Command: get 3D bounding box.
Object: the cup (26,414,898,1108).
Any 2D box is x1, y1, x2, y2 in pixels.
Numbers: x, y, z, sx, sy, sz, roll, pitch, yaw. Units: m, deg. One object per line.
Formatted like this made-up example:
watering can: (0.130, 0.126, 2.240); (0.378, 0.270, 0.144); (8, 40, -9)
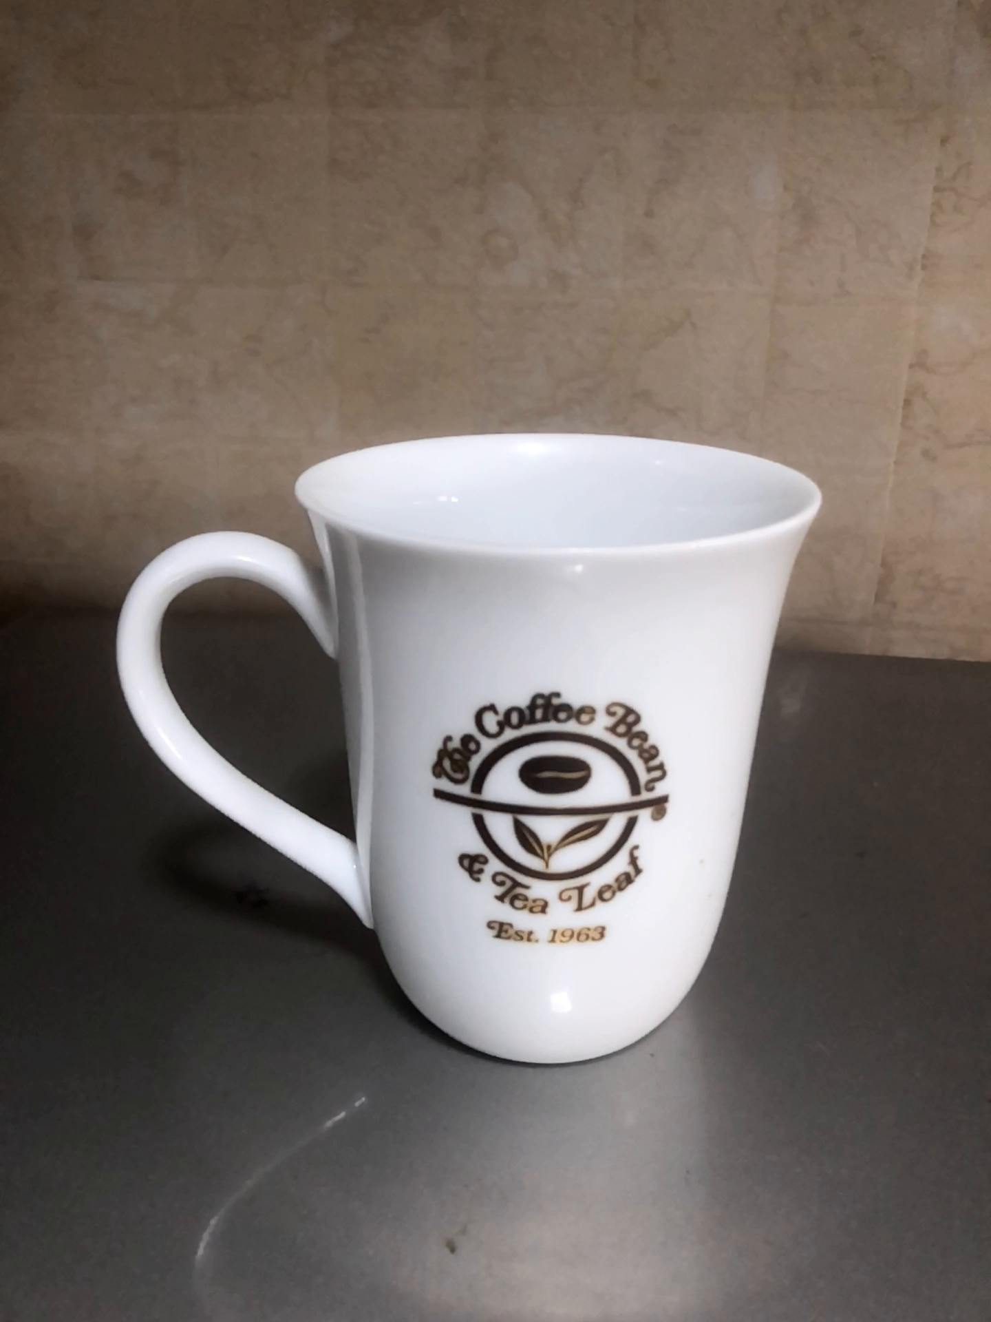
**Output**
cup: (-0.007, 0.013, 0.226); (0.130, 0.109, 0.091); (0, 21, -3)
